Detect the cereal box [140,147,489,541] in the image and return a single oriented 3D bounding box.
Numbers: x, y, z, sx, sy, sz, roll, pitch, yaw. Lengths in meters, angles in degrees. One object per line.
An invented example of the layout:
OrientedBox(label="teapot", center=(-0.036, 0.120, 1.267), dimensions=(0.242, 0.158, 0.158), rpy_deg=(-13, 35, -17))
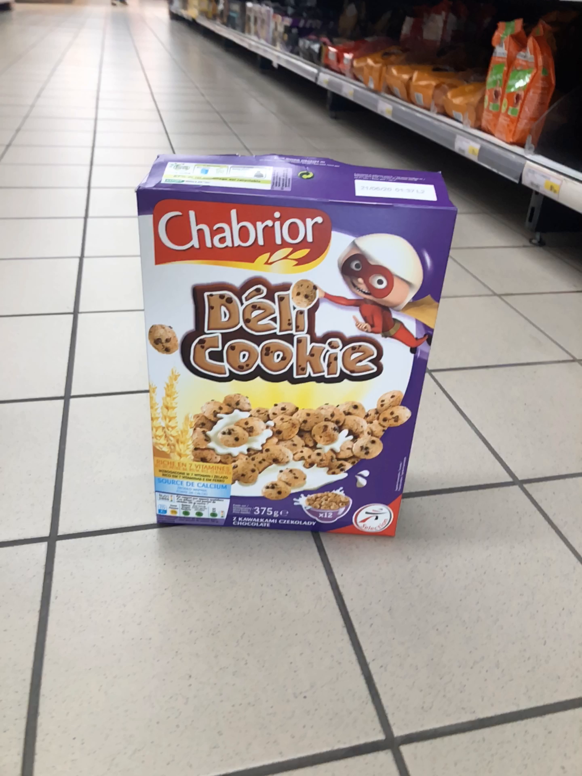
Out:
OrientedBox(label="cereal box", center=(0.007, -0.021, 0.468), dimensions=(0.200, 0.268, 0.080), rpy_deg=(3, 31, -1))
